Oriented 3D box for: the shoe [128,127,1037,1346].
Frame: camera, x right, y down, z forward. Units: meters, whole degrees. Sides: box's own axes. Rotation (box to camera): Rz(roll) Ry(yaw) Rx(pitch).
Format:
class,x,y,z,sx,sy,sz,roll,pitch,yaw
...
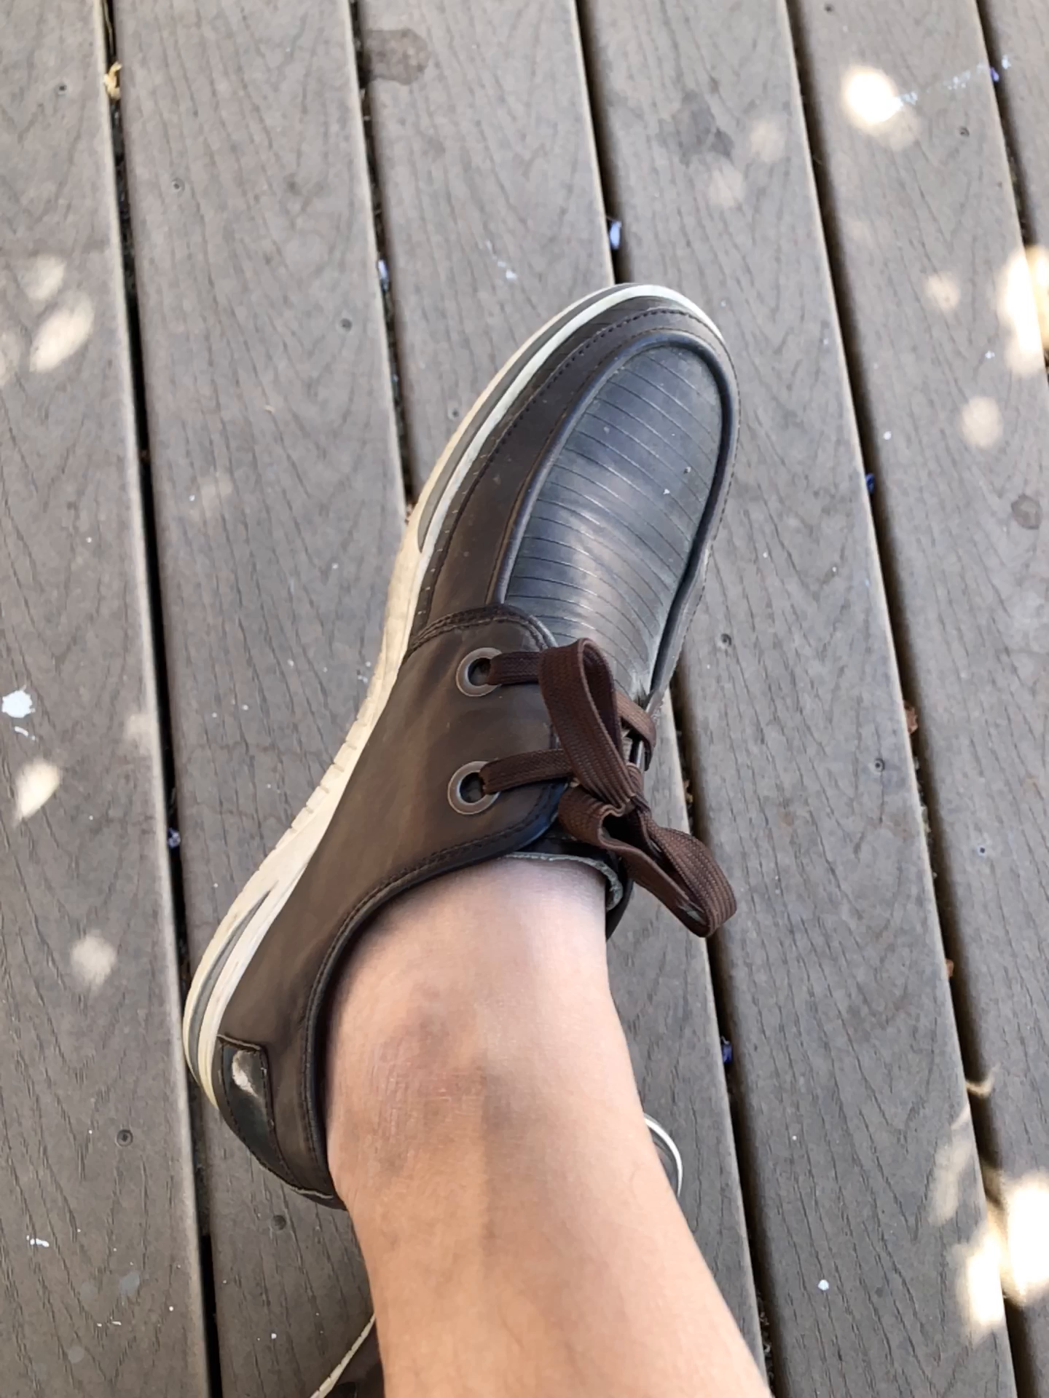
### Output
class,x,y,z,sx,sy,sz,roll,pitch,yaw
shoe,0.012,0.011,0.344,0.119,0.104,0.295,28,87,-26
